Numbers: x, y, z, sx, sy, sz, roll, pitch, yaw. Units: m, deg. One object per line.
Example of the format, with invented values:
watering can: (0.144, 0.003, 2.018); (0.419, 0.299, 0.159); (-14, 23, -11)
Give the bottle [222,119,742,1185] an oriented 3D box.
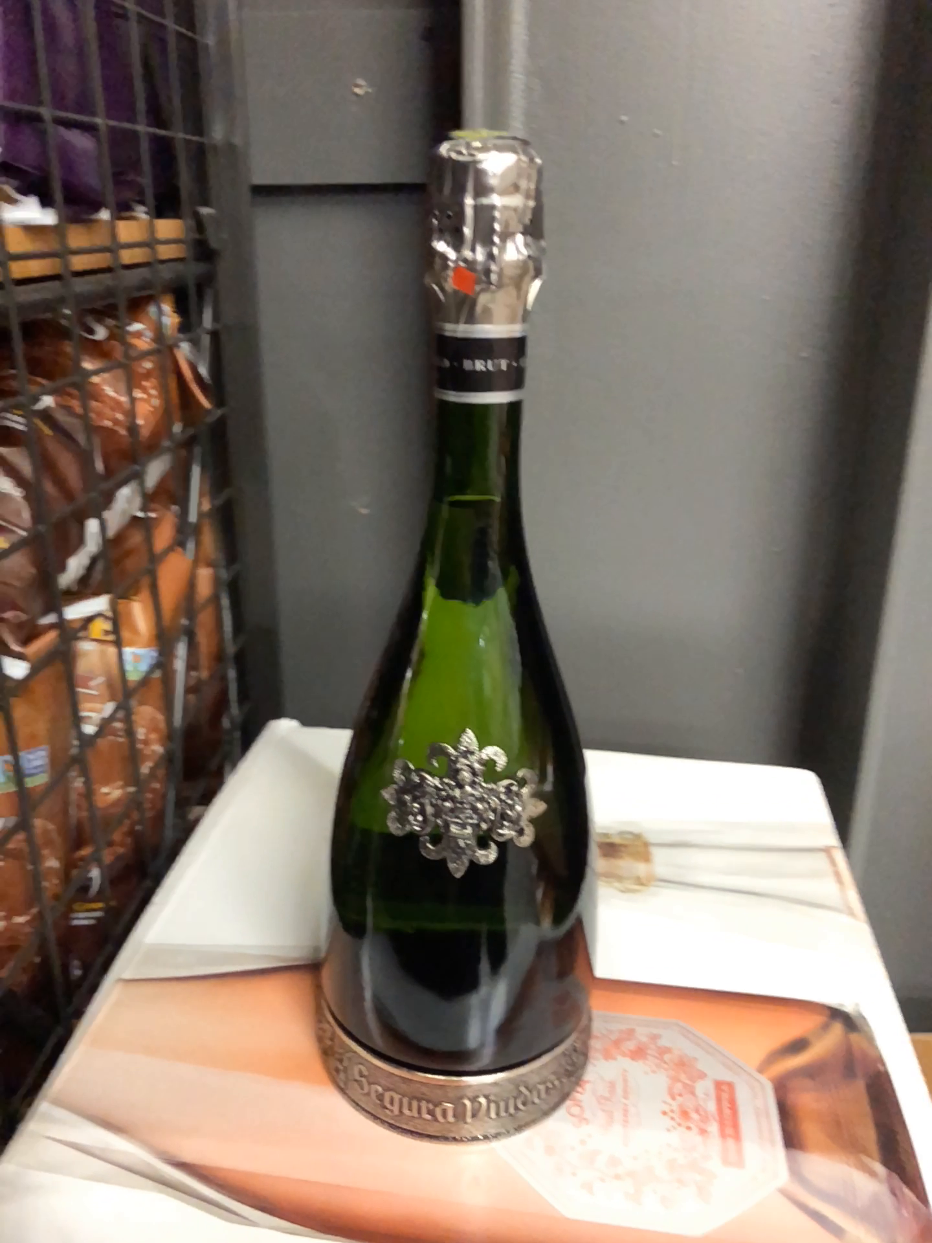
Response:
bottle: (0.002, 0.017, 0.352); (0.122, 0.332, 0.110); (-2, 21, -4)
